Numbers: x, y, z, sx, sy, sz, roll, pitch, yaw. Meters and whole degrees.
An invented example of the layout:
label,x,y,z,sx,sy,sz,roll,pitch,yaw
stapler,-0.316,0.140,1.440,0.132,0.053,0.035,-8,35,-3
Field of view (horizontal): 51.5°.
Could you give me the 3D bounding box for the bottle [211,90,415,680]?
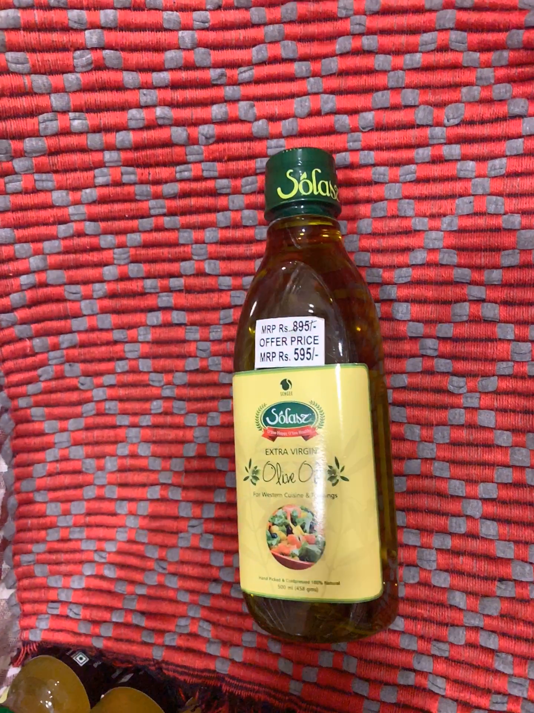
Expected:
label,x,y,z,sx,sy,sz,roll,pitch,yaw
bottle,0.020,0.009,0.231,0.060,0.070,0.200,-4,81,22
